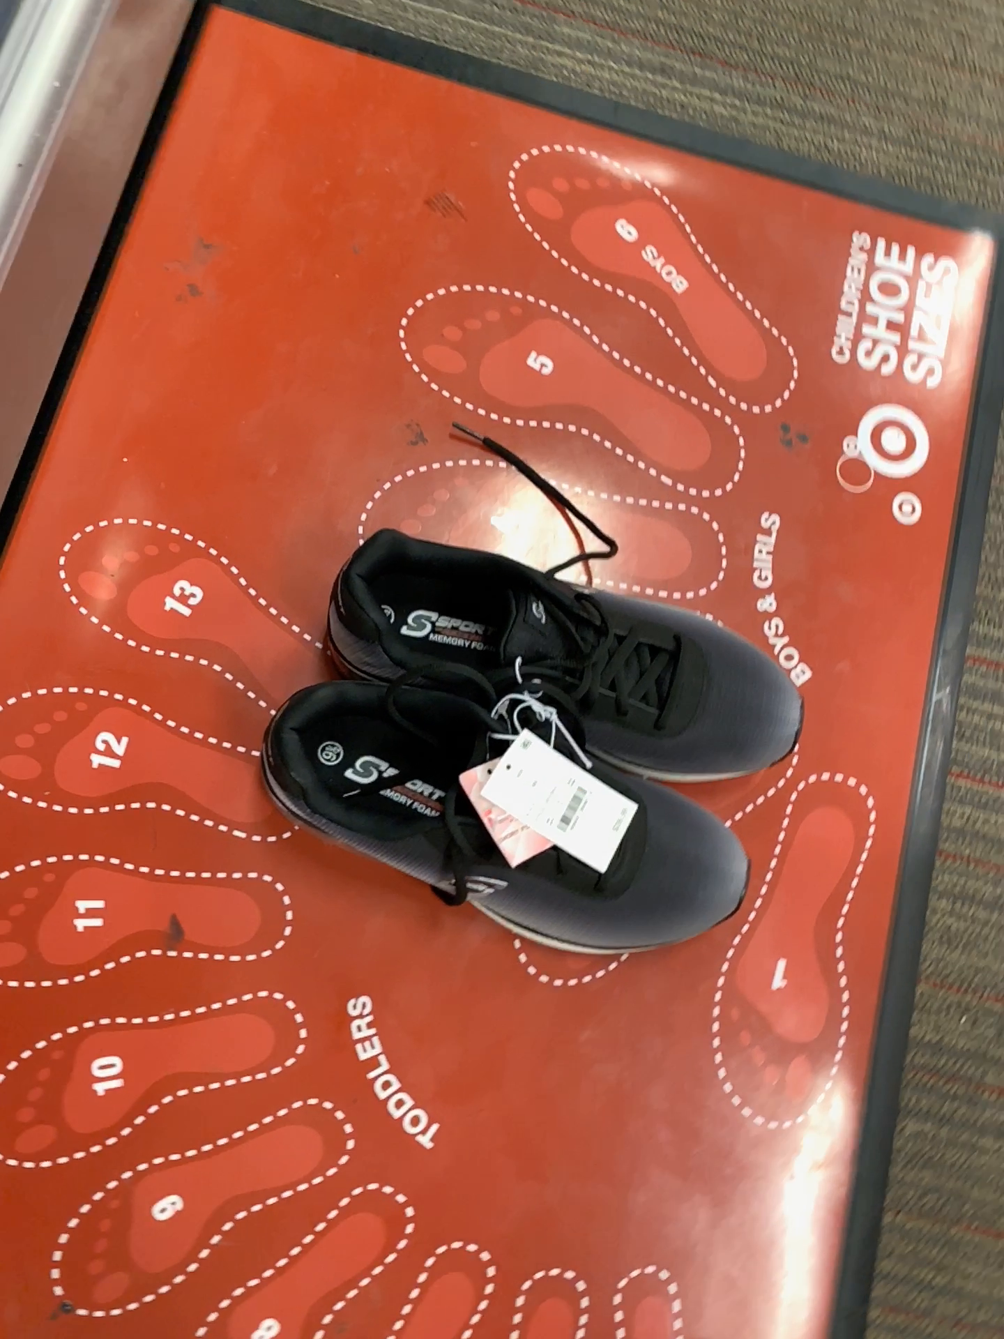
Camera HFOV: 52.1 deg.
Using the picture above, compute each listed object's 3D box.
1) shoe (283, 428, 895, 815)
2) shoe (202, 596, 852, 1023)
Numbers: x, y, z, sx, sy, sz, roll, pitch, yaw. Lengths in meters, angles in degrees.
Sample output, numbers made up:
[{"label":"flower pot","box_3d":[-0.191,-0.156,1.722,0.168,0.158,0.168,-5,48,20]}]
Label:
[{"label":"shoe","box_3d":[0.038,-0.015,0.504,0.260,0.100,0.100,16,77,-4]},{"label":"shoe","box_3d":[0.010,0.068,0.484,0.260,0.100,0.100,20,77,-3]}]
